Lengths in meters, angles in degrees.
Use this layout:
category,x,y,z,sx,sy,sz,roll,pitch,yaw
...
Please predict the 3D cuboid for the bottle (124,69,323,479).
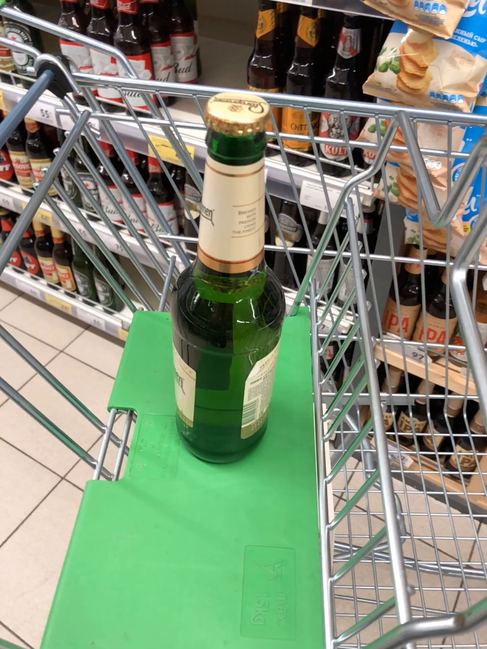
category,x,y,z,sx,sy,sz,roll,pitch,yaw
bottle,-0.009,-0.007,0.312,0.070,0.239,0.070,1,46,-2
